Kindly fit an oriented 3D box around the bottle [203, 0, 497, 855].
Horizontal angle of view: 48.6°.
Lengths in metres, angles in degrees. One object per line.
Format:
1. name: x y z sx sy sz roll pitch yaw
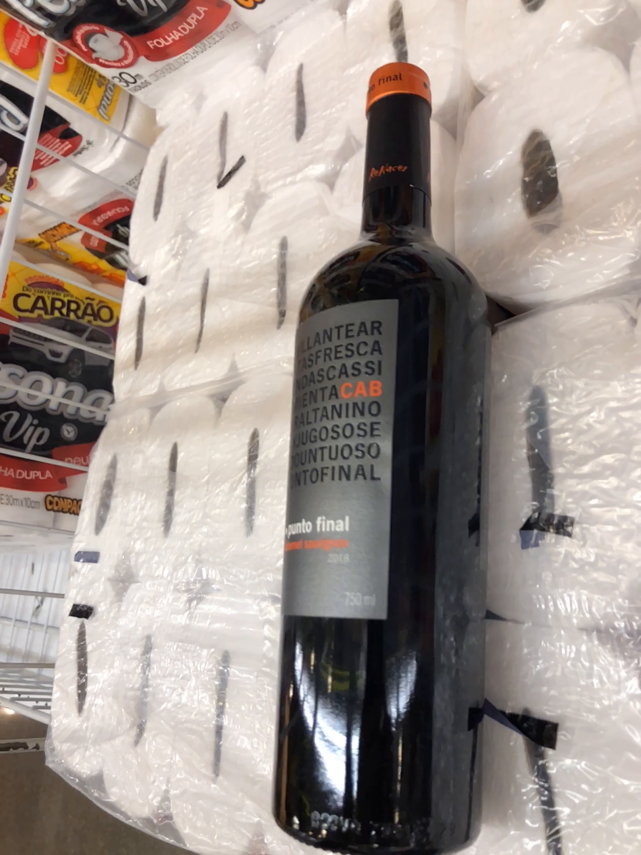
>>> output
1. bottle: 0.019 -0.018 0.268 0.070 0.060 0.310 -11 68 42
